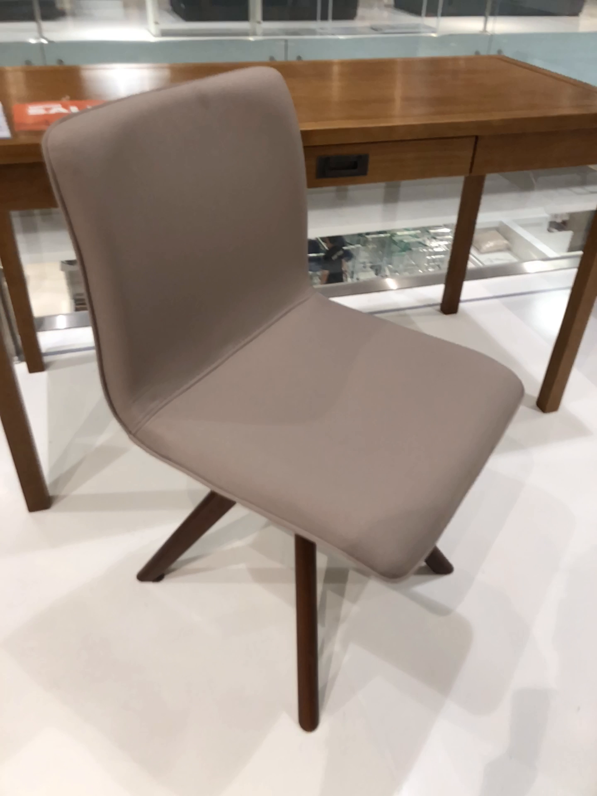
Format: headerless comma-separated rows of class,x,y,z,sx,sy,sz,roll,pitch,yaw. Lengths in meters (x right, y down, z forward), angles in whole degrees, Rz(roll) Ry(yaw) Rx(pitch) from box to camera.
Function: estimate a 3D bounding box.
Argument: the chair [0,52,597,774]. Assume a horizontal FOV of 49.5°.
chair,0.020,-0.006,1.005,0.531,0.833,0.543,21,40,24
